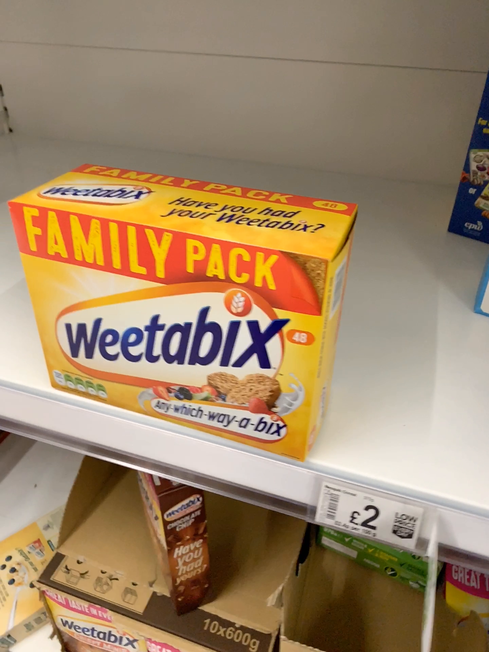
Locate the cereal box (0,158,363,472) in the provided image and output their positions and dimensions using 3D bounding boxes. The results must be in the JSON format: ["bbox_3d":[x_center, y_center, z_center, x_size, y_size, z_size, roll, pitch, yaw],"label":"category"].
[{"bbox_3d":[-0.054,-0.015,0.417,0.260,0.188,0.091,13,37,17],"label":"cereal box"}]
